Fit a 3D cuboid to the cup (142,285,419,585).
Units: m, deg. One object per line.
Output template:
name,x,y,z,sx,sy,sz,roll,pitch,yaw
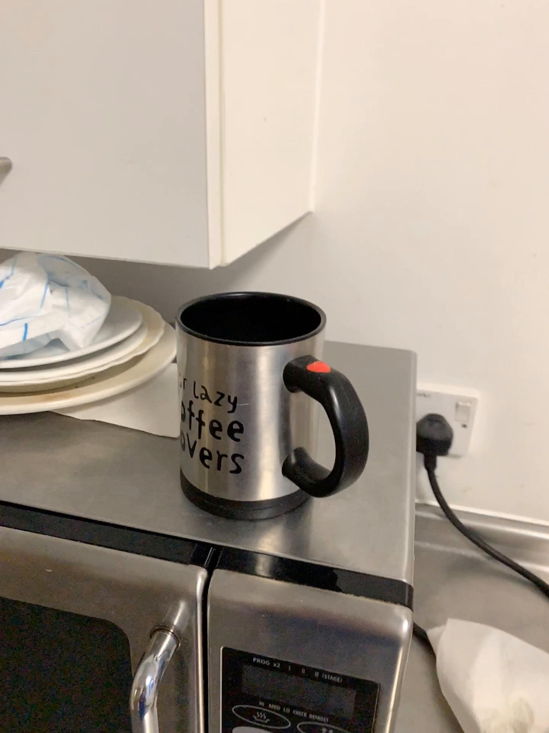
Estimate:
cup,-0.004,0.026,0.337,0.096,0.108,0.134,-14,27,-32
